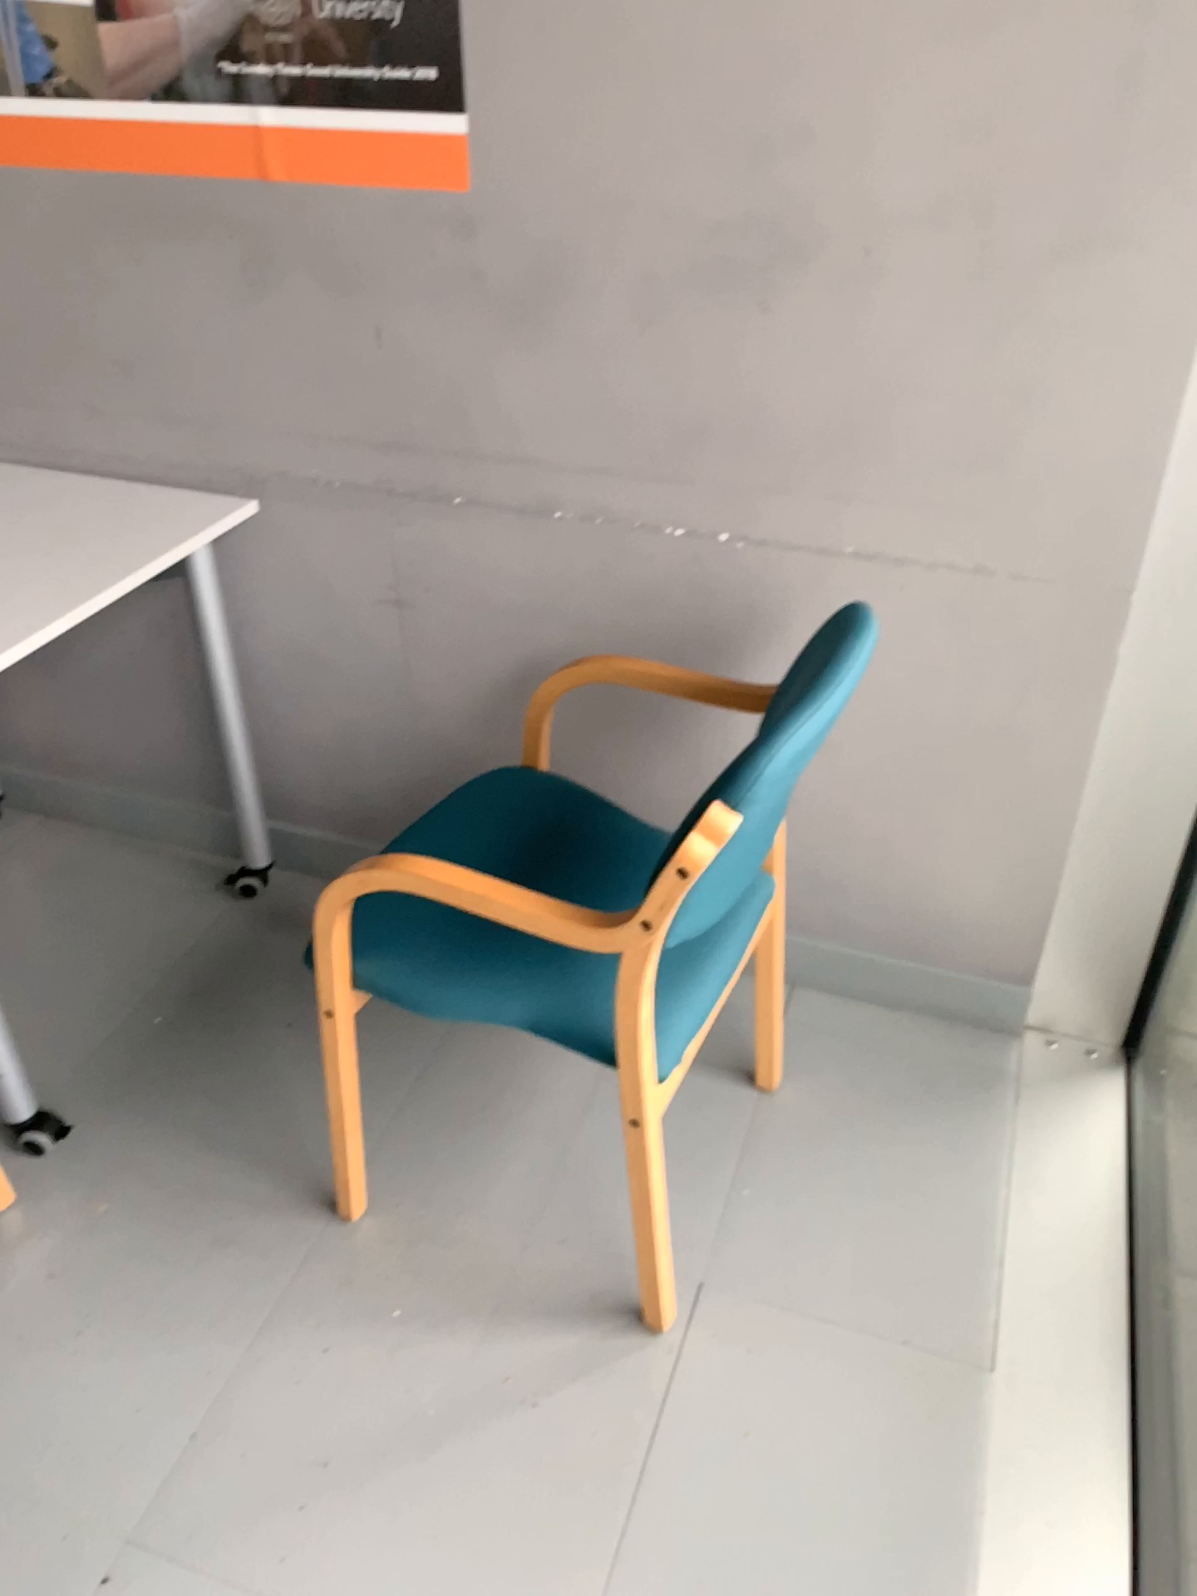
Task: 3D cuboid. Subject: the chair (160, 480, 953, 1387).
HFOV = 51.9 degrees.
[{"bbox_3d":[0.007,0.104,1.528,0.641,0.723,0.686,12,35,18],"label":"chair"}]
